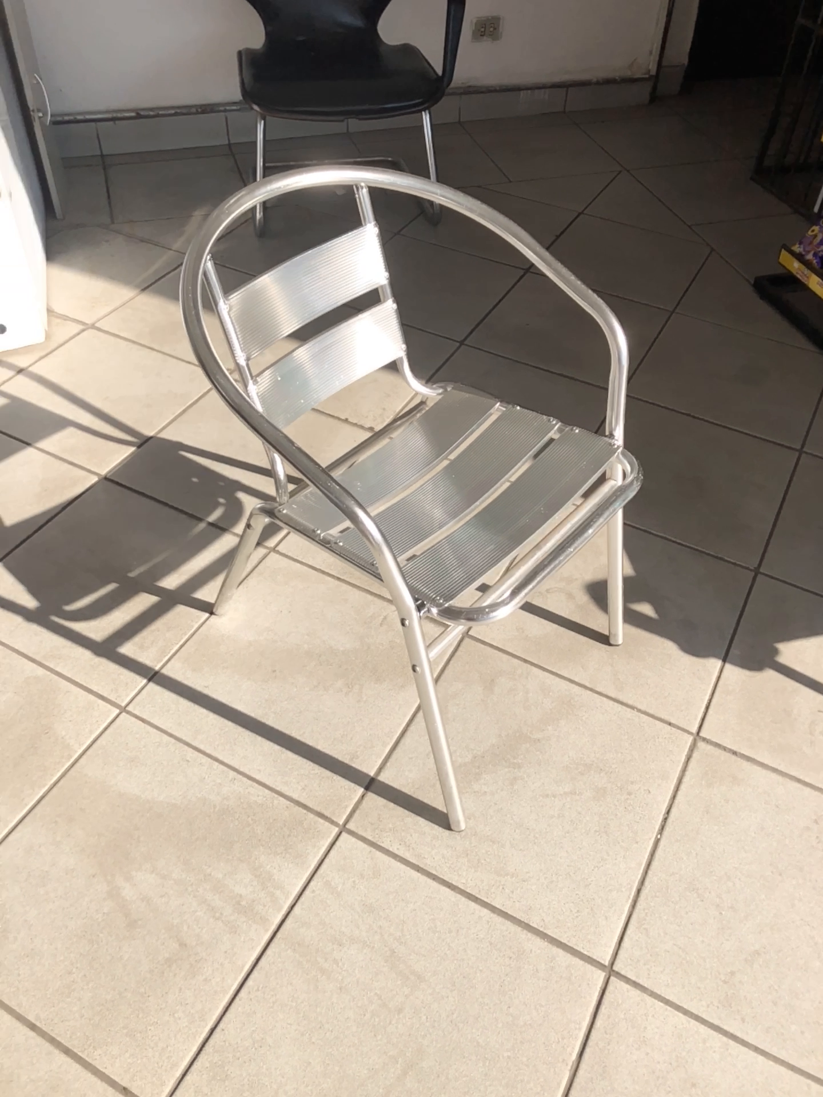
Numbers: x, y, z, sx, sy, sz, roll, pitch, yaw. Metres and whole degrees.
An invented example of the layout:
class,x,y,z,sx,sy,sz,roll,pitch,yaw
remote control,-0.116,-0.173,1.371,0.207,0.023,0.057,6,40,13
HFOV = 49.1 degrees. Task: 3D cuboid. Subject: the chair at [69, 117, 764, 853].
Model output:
class,x,y,z,sx,sy,sz,roll,pitch,yaw
chair,0.000,-0.107,1.306,0.631,0.705,0.522,31,51,26
